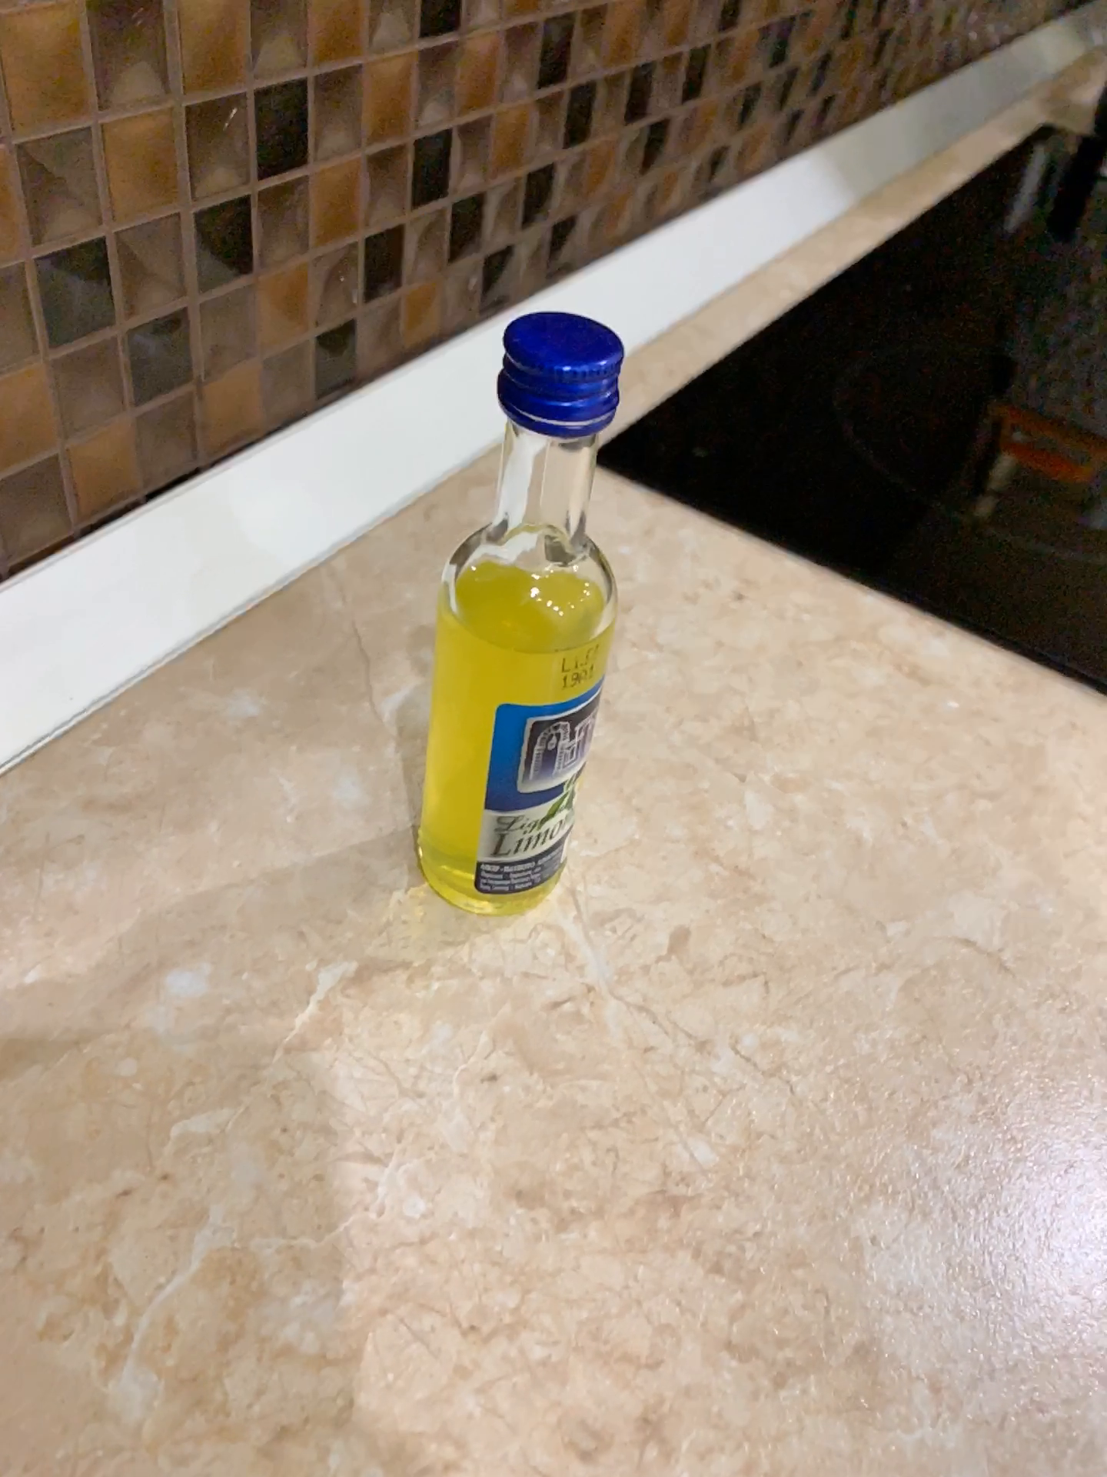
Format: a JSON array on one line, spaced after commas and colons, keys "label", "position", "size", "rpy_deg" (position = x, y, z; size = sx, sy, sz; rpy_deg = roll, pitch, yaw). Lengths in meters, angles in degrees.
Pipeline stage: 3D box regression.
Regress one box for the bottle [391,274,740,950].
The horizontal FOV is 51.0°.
[{"label": "bottle", "position": [-0.003, -0.017, 0.216], "size": [0.033, 0.119, 0.039], "rpy_deg": [28, 46, 17]}]
